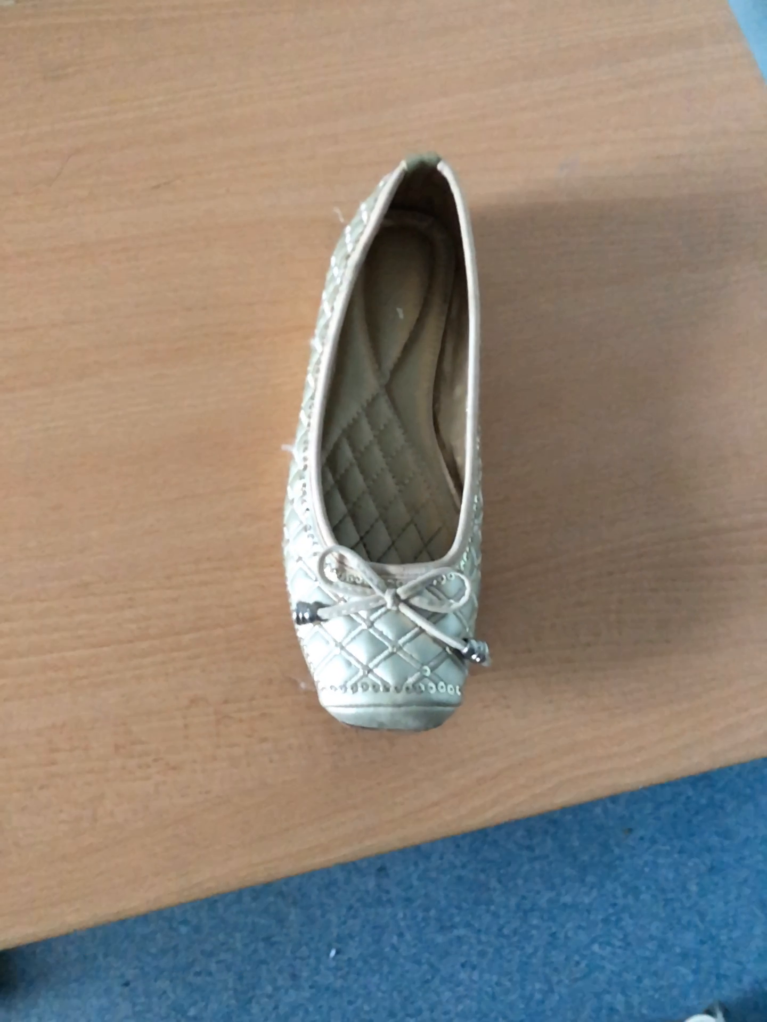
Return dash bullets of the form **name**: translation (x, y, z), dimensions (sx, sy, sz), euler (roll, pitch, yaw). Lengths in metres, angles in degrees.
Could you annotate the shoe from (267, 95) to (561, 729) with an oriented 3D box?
- **shoe**: translation (0.009, -0.043, 0.367), dimensions (0.100, 0.080, 0.261), euler (1, 71, -4)
